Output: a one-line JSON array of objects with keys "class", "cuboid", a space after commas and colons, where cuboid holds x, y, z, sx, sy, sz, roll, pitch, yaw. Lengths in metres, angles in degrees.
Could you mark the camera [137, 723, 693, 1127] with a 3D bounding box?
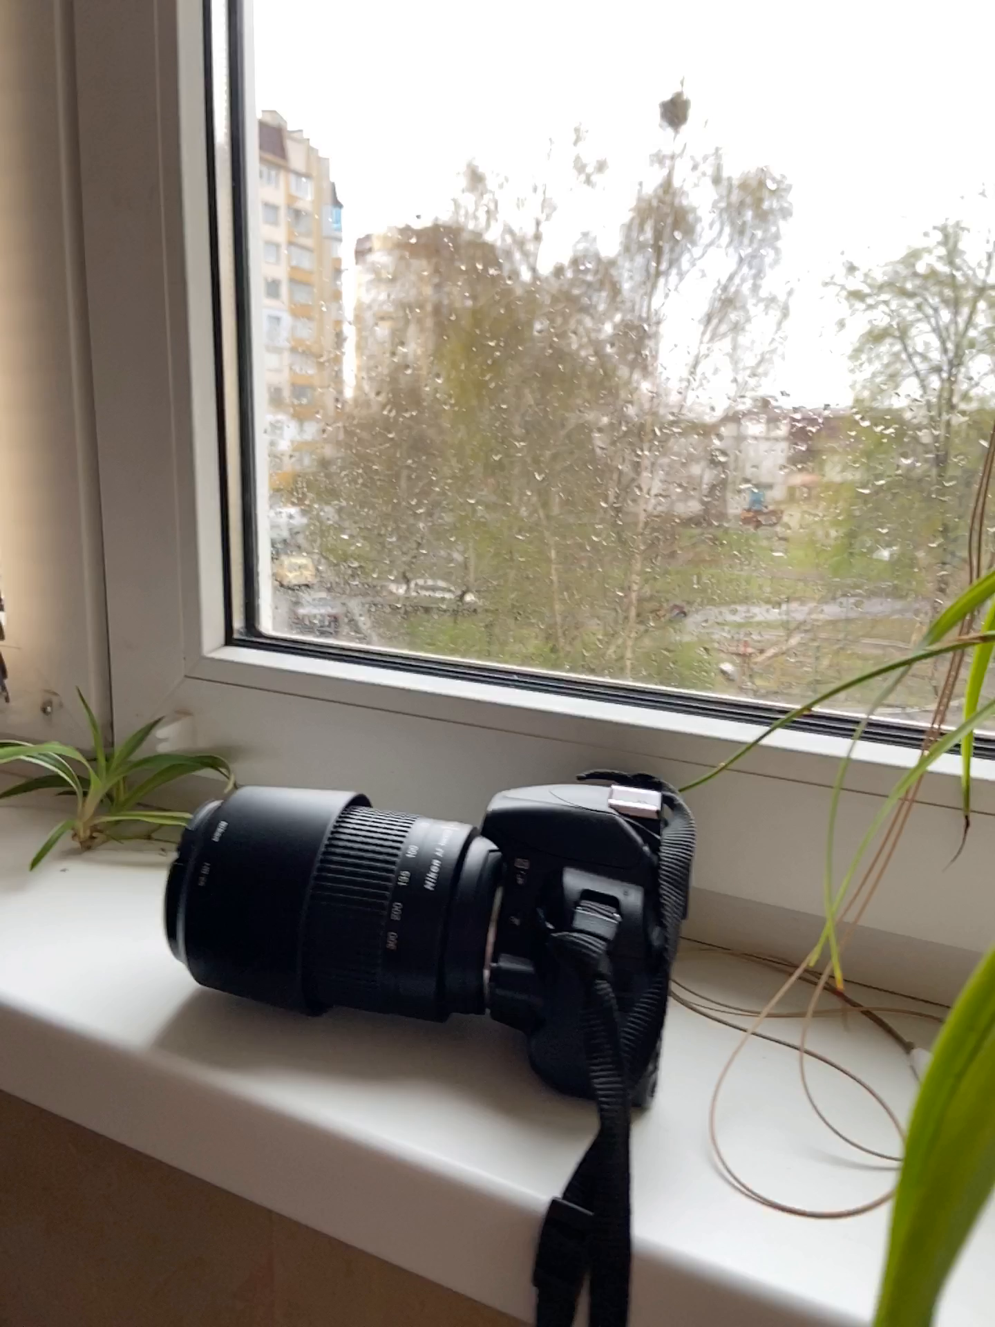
[{"class": "camera", "cuboid": [-0.022, 0.091, 0.408, 0.190, 0.089, 0.125, 4, 13, 9]}]
